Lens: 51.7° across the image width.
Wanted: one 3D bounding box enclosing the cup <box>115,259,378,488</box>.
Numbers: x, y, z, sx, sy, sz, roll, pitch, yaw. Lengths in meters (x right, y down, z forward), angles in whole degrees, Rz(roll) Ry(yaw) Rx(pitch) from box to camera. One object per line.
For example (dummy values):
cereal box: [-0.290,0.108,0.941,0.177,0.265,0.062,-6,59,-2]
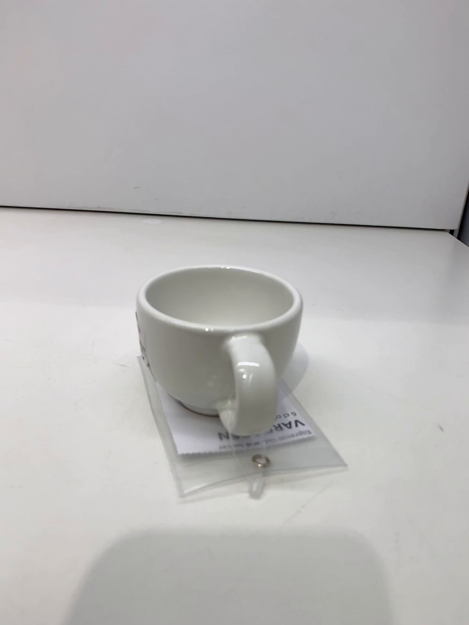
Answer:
cup: [-0.004,0.014,0.176,0.070,0.040,0.080,-4,25,-17]
